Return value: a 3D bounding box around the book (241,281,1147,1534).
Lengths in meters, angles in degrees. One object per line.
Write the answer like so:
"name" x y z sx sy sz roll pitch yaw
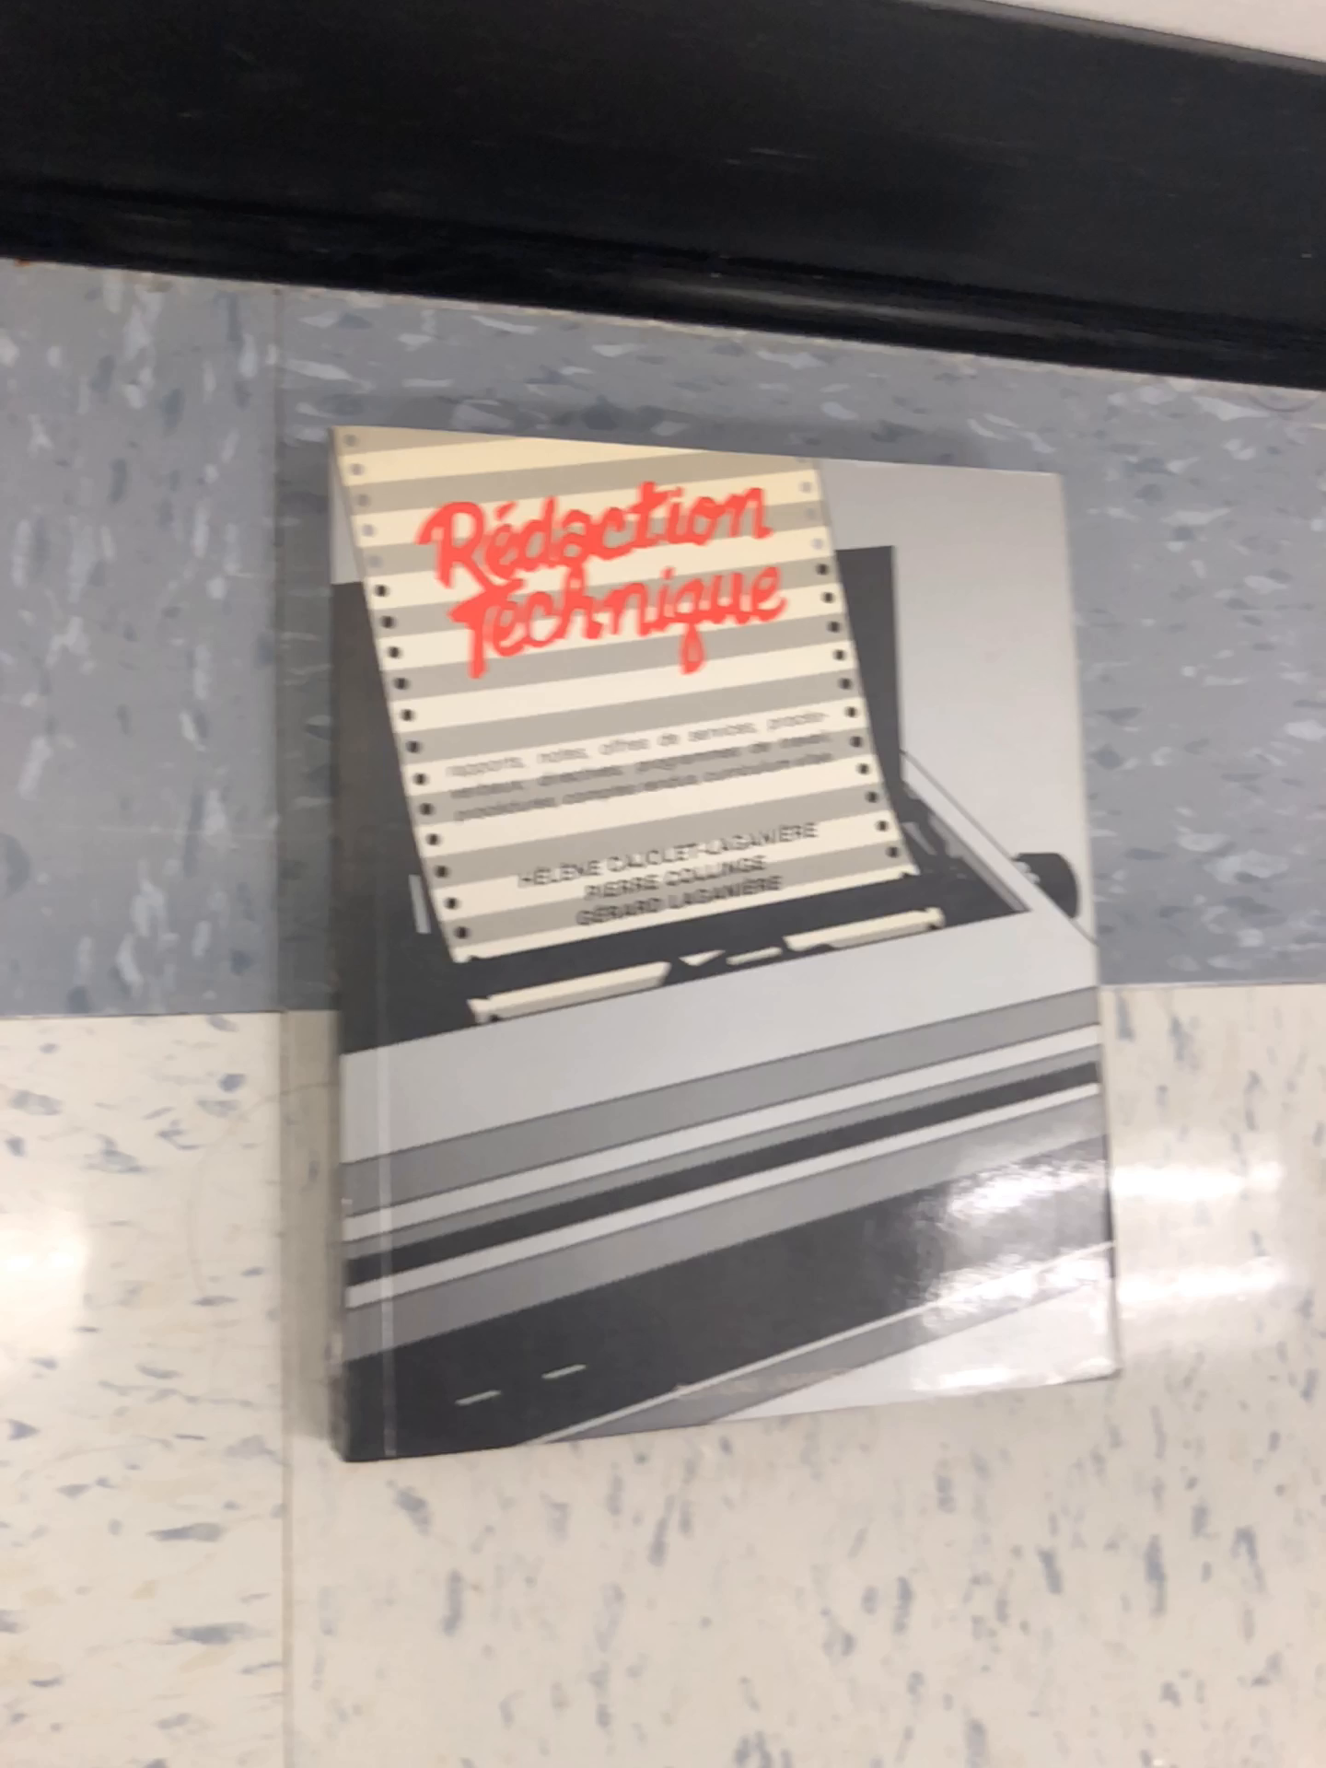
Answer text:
"book" 0.004 0.000 0.300 0.170 0.040 0.220 -1 84 -16
